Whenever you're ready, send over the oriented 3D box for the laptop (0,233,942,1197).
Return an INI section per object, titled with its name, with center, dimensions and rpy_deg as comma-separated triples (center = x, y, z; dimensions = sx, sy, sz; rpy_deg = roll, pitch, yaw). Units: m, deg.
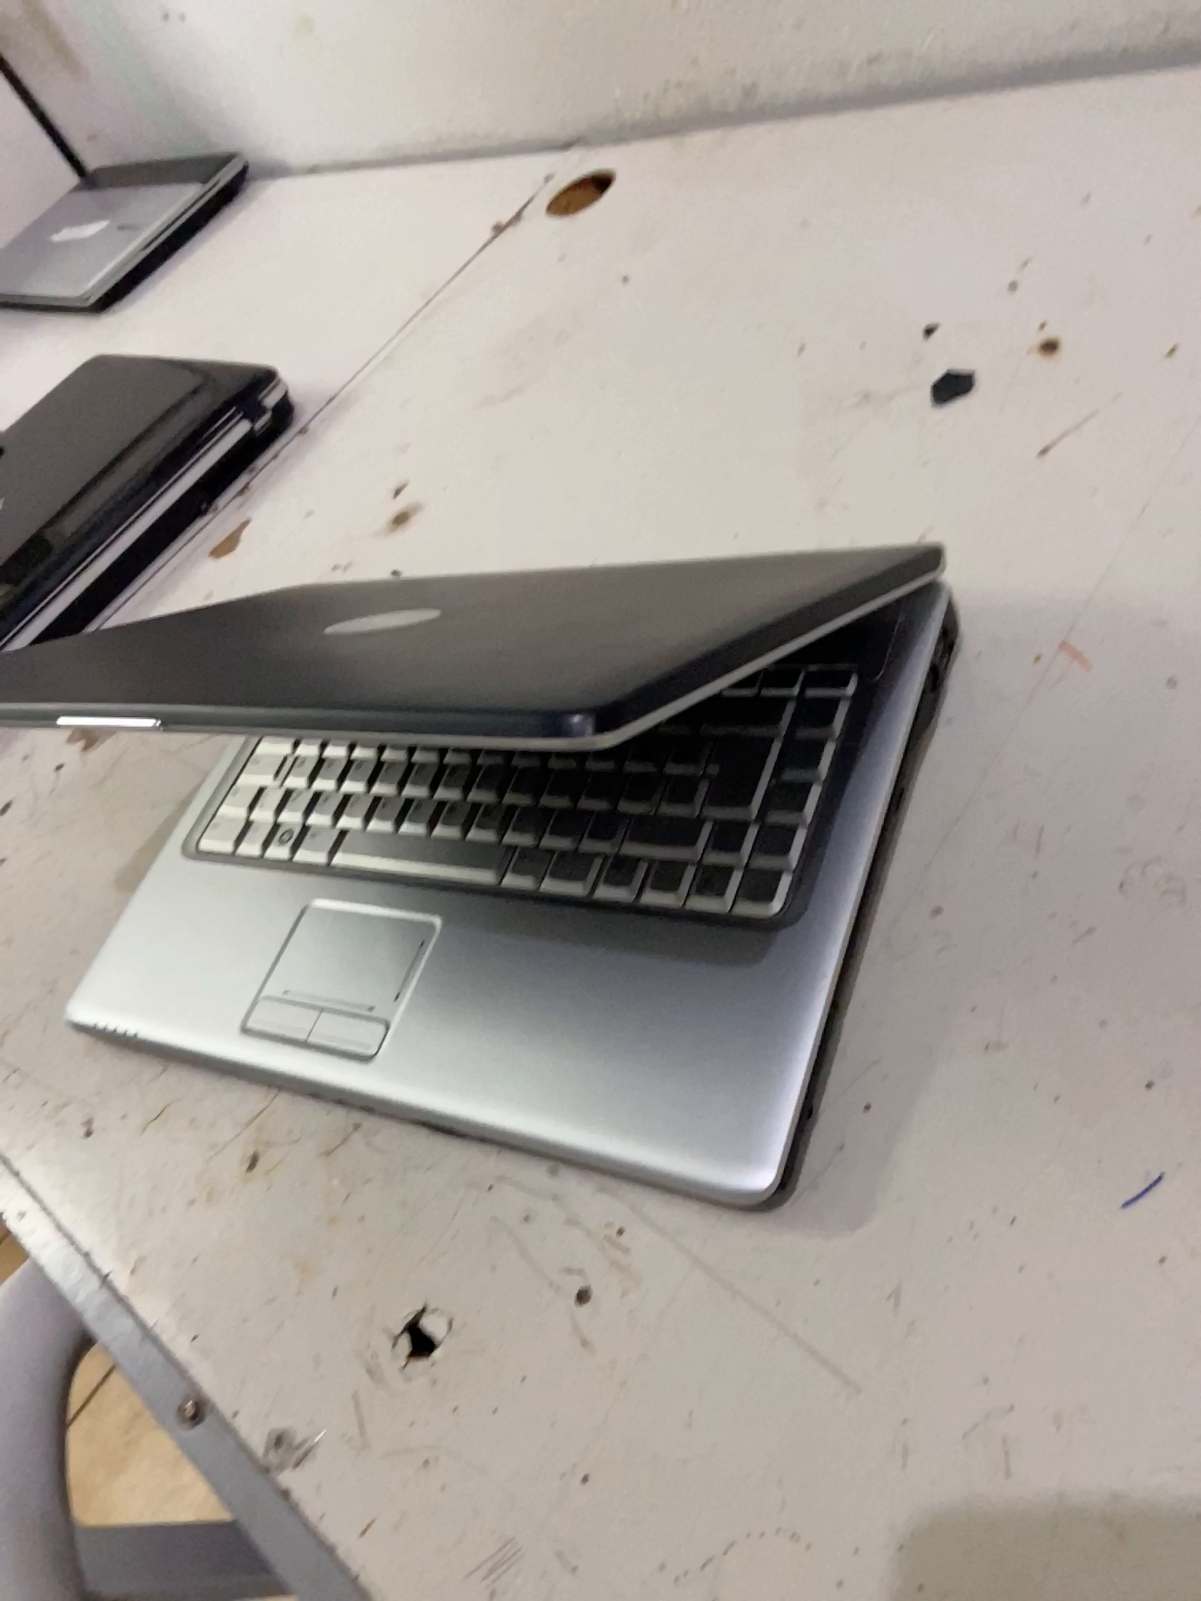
[laptop]
center = -0.088, -0.035, 0.457
dimensions = 0.347, 0.145, 0.238
rpy_deg = 3, 57, 33
